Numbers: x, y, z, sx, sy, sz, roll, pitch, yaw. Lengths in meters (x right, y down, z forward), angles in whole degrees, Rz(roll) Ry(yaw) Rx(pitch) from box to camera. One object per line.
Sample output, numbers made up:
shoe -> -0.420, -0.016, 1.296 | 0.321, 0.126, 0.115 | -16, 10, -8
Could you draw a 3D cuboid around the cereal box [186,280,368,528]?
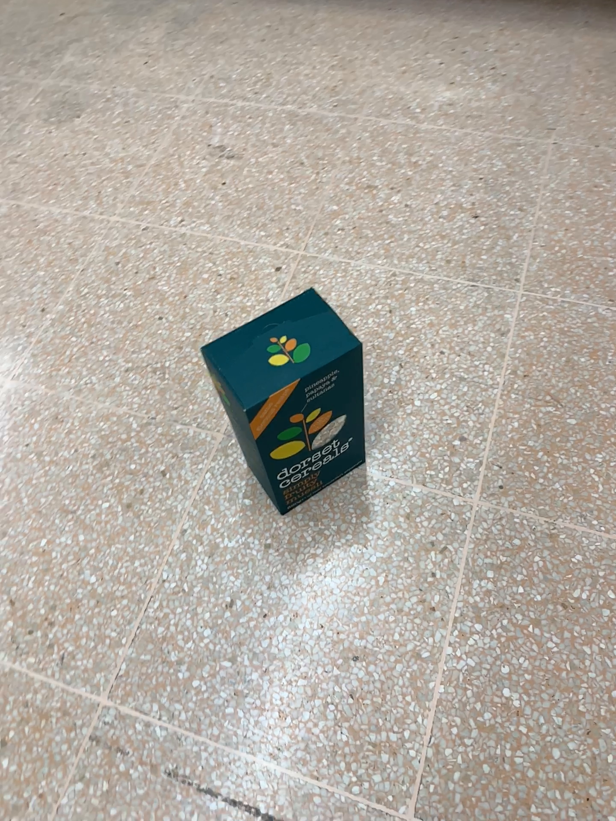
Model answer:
cereal box -> -0.015, 0.008, 0.602 | 0.120, 0.238, 0.080 | -31, 62, -12
